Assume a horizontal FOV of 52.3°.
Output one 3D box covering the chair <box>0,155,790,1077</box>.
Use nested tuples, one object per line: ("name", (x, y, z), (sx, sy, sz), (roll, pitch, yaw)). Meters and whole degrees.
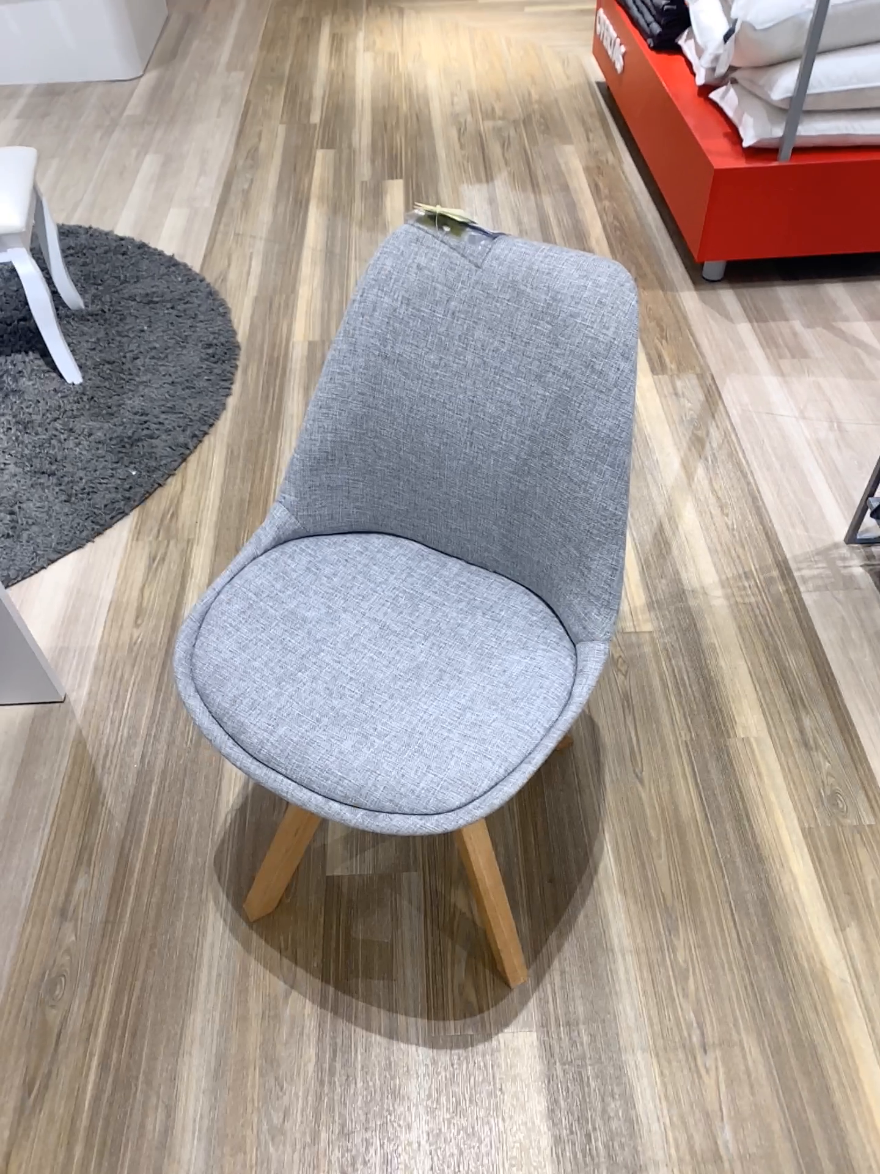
("chair", (-0.027, 0.075, 1.057), (0.514, 0.856, 0.517), (22, 52, 20))
